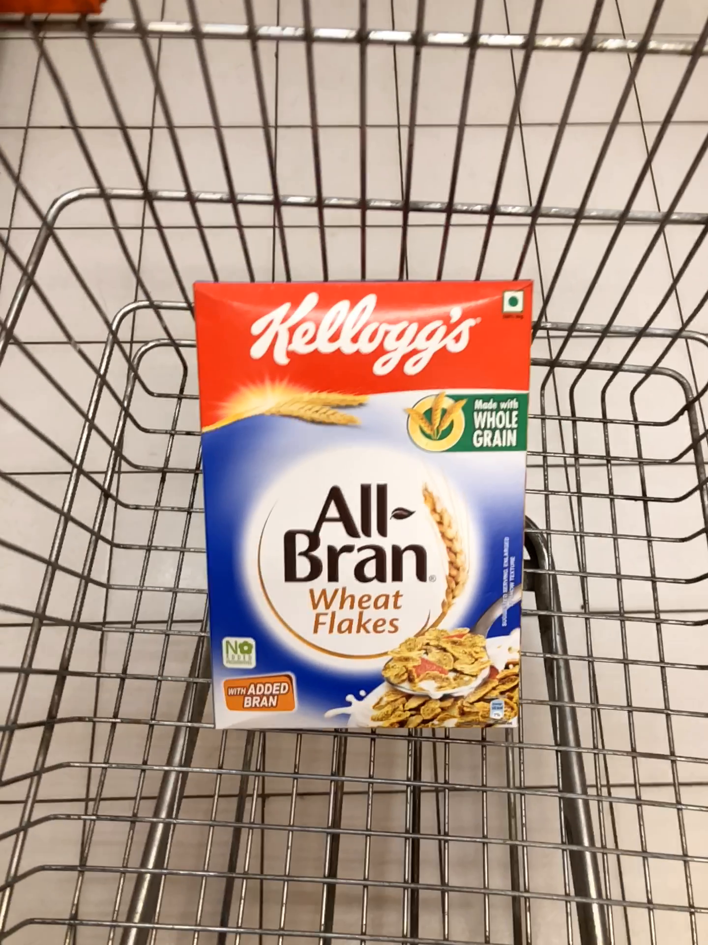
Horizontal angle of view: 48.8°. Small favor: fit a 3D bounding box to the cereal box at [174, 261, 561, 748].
[{"bbox_3d":[0.006,0.017,0.455,0.190,0.080,0.270,0,104,0],"label":"cereal box"}]
